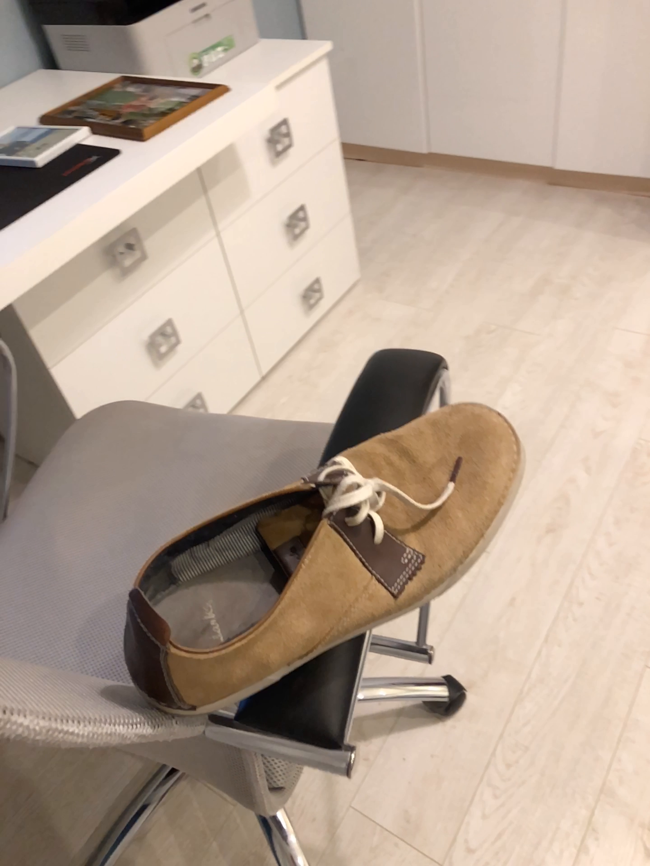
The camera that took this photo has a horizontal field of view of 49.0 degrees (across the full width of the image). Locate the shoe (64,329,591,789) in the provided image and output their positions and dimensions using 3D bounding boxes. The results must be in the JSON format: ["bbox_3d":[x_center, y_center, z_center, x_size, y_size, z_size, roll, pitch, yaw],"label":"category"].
[{"bbox_3d":[0.012,0.060,0.456,0.310,0.079,0.121,-32,47,-19],"label":"shoe"}]
